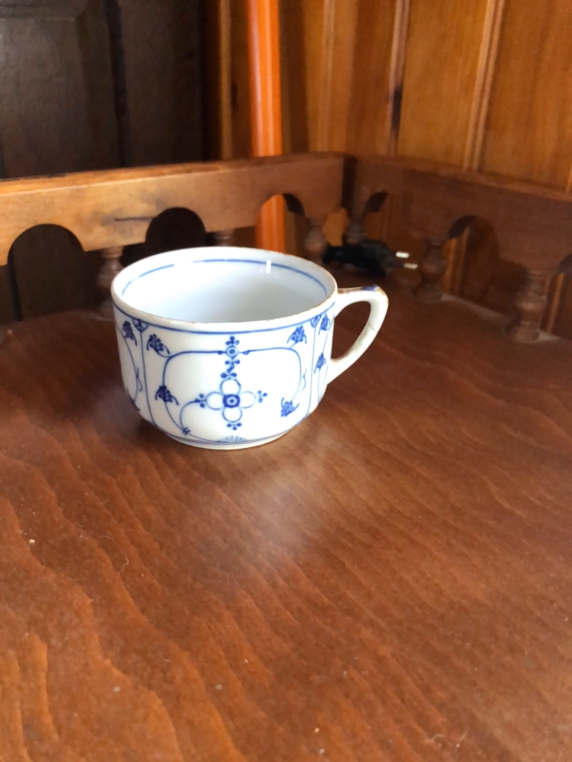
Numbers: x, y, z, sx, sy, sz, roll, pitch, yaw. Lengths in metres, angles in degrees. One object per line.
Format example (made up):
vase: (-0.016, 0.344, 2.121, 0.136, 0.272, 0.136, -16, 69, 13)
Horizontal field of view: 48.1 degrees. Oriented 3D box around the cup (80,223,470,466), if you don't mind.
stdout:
cup: (-0.007, -0.020, 0.244, 0.120, 0.060, 0.080, -3, 28, -8)
